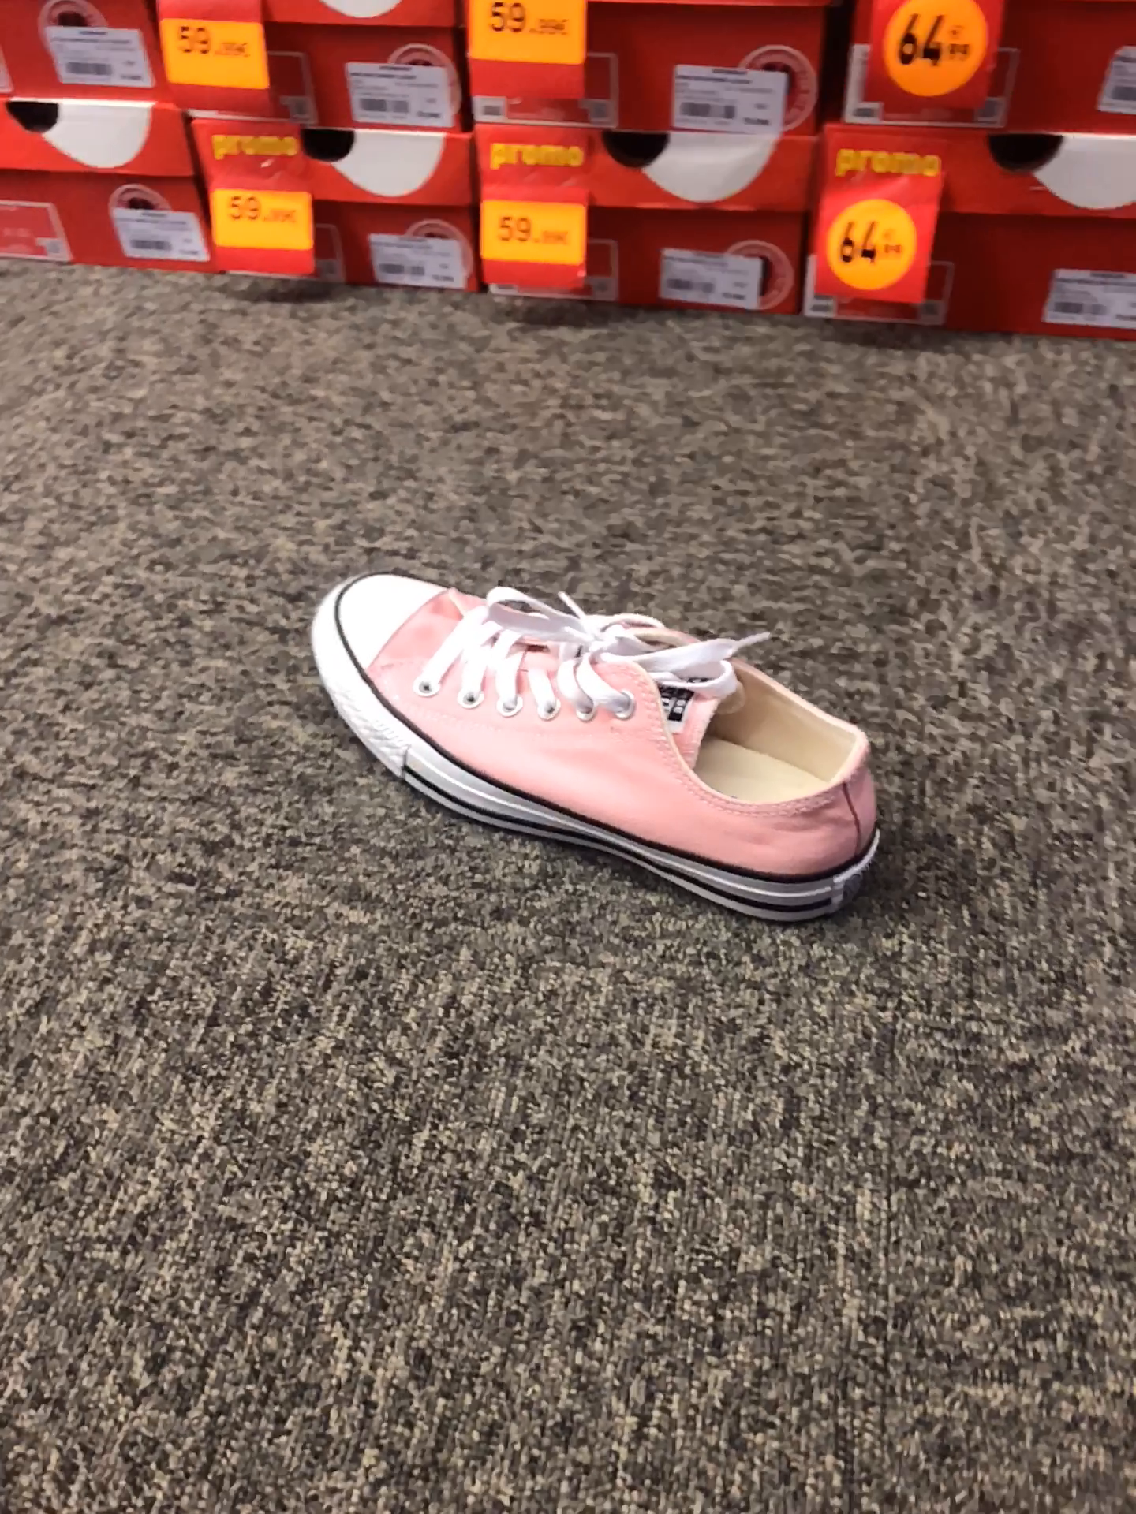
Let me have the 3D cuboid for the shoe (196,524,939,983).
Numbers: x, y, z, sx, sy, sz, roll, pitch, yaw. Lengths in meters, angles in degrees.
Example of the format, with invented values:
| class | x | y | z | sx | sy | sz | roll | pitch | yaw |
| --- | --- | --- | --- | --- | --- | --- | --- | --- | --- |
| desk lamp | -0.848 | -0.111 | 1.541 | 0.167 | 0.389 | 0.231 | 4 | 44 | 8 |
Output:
| class | x | y | z | sx | sy | sz | roll | pitch | yaw |
| --- | --- | --- | --- | --- | --- | --- | --- | --- | --- |
| shoe | -0.006 | -0.014 | 0.509 | 0.280 | 0.060 | 0.101 | 18 | 50 | 26 |
